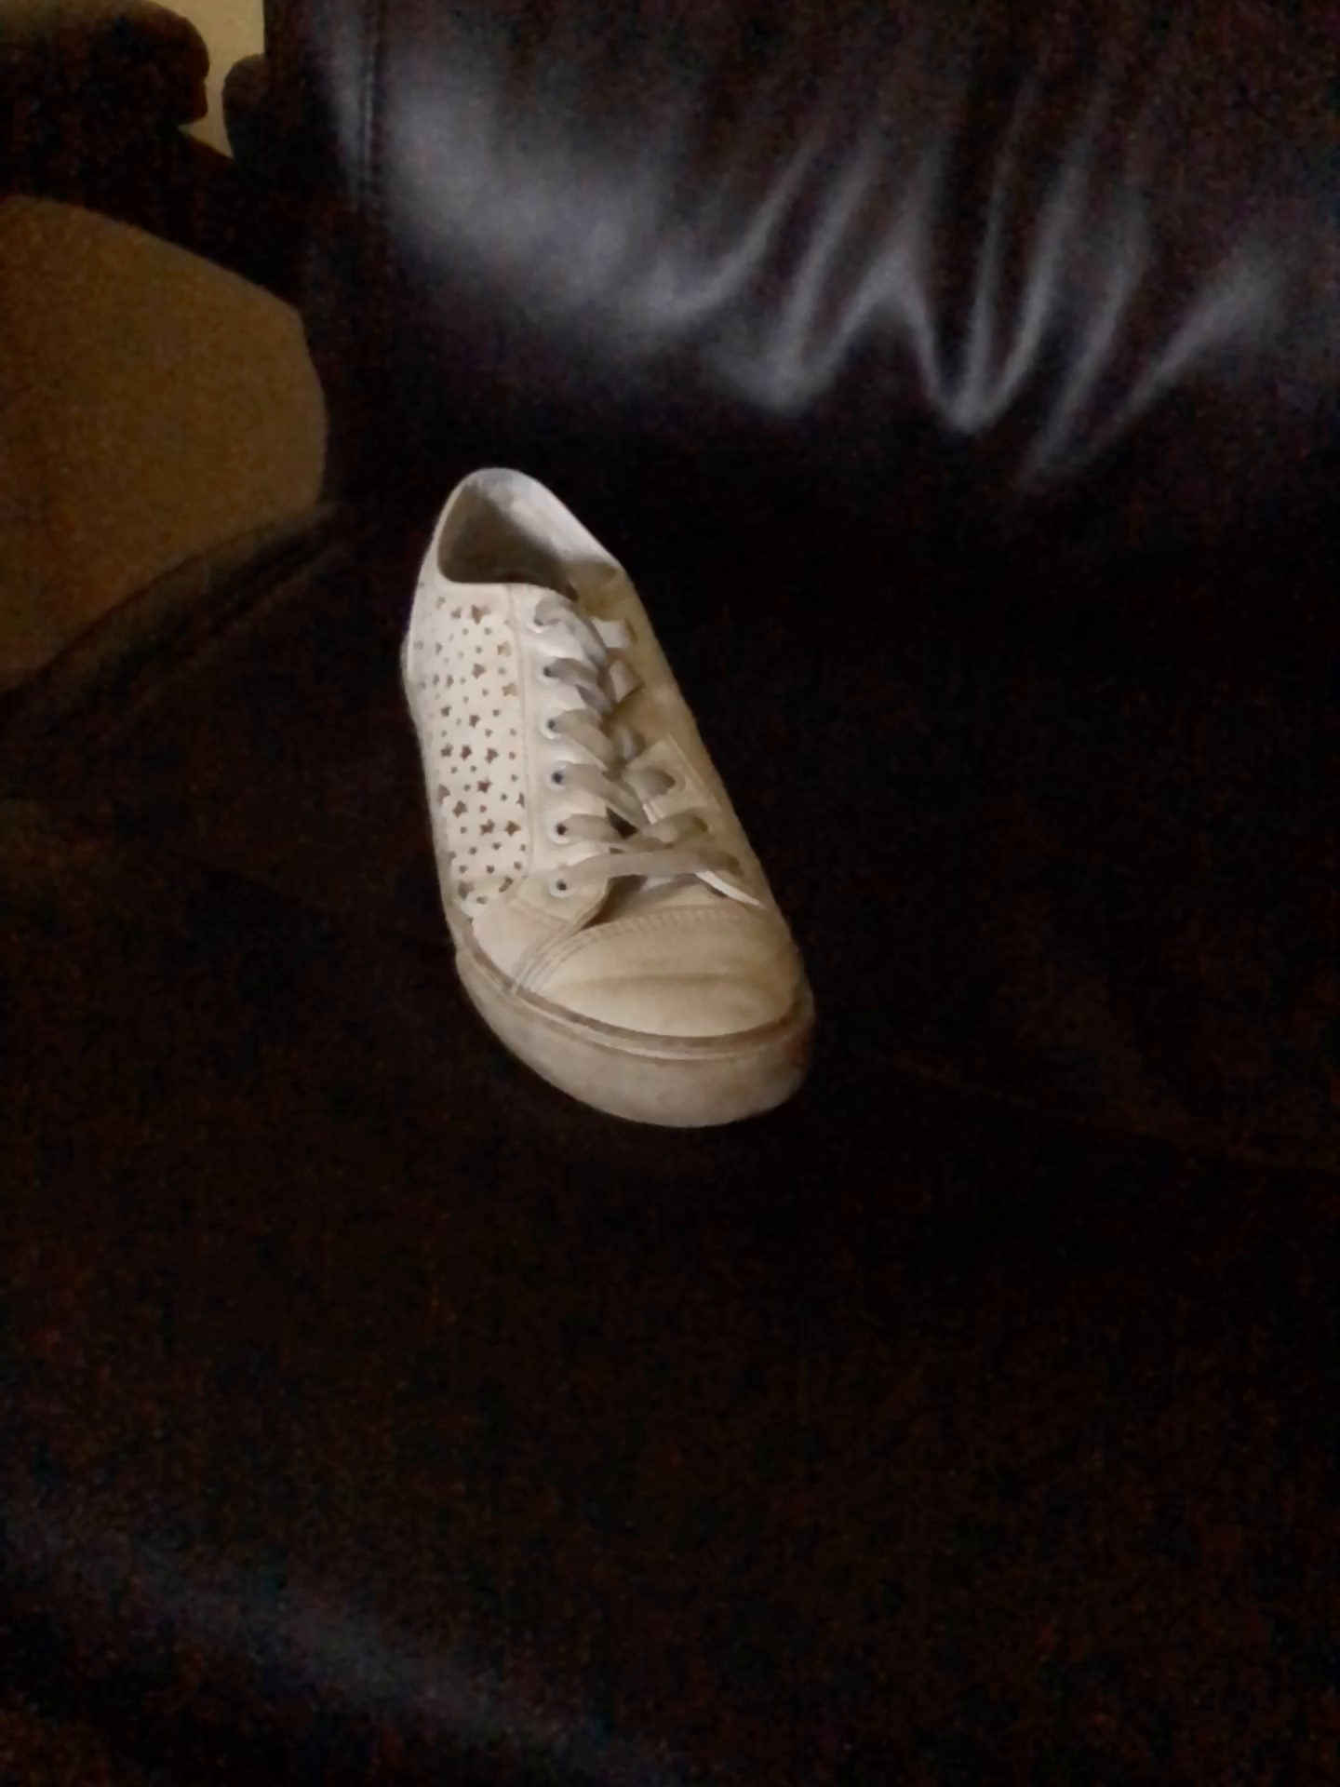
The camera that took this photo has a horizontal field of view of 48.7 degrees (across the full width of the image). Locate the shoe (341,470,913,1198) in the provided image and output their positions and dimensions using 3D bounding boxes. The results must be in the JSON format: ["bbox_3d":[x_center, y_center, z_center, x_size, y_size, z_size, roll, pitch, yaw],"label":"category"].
[{"bbox_3d":[-0.032,-0.041,0.464,0.100,0.099,0.261,-8,34,-16],"label":"shoe"}]
